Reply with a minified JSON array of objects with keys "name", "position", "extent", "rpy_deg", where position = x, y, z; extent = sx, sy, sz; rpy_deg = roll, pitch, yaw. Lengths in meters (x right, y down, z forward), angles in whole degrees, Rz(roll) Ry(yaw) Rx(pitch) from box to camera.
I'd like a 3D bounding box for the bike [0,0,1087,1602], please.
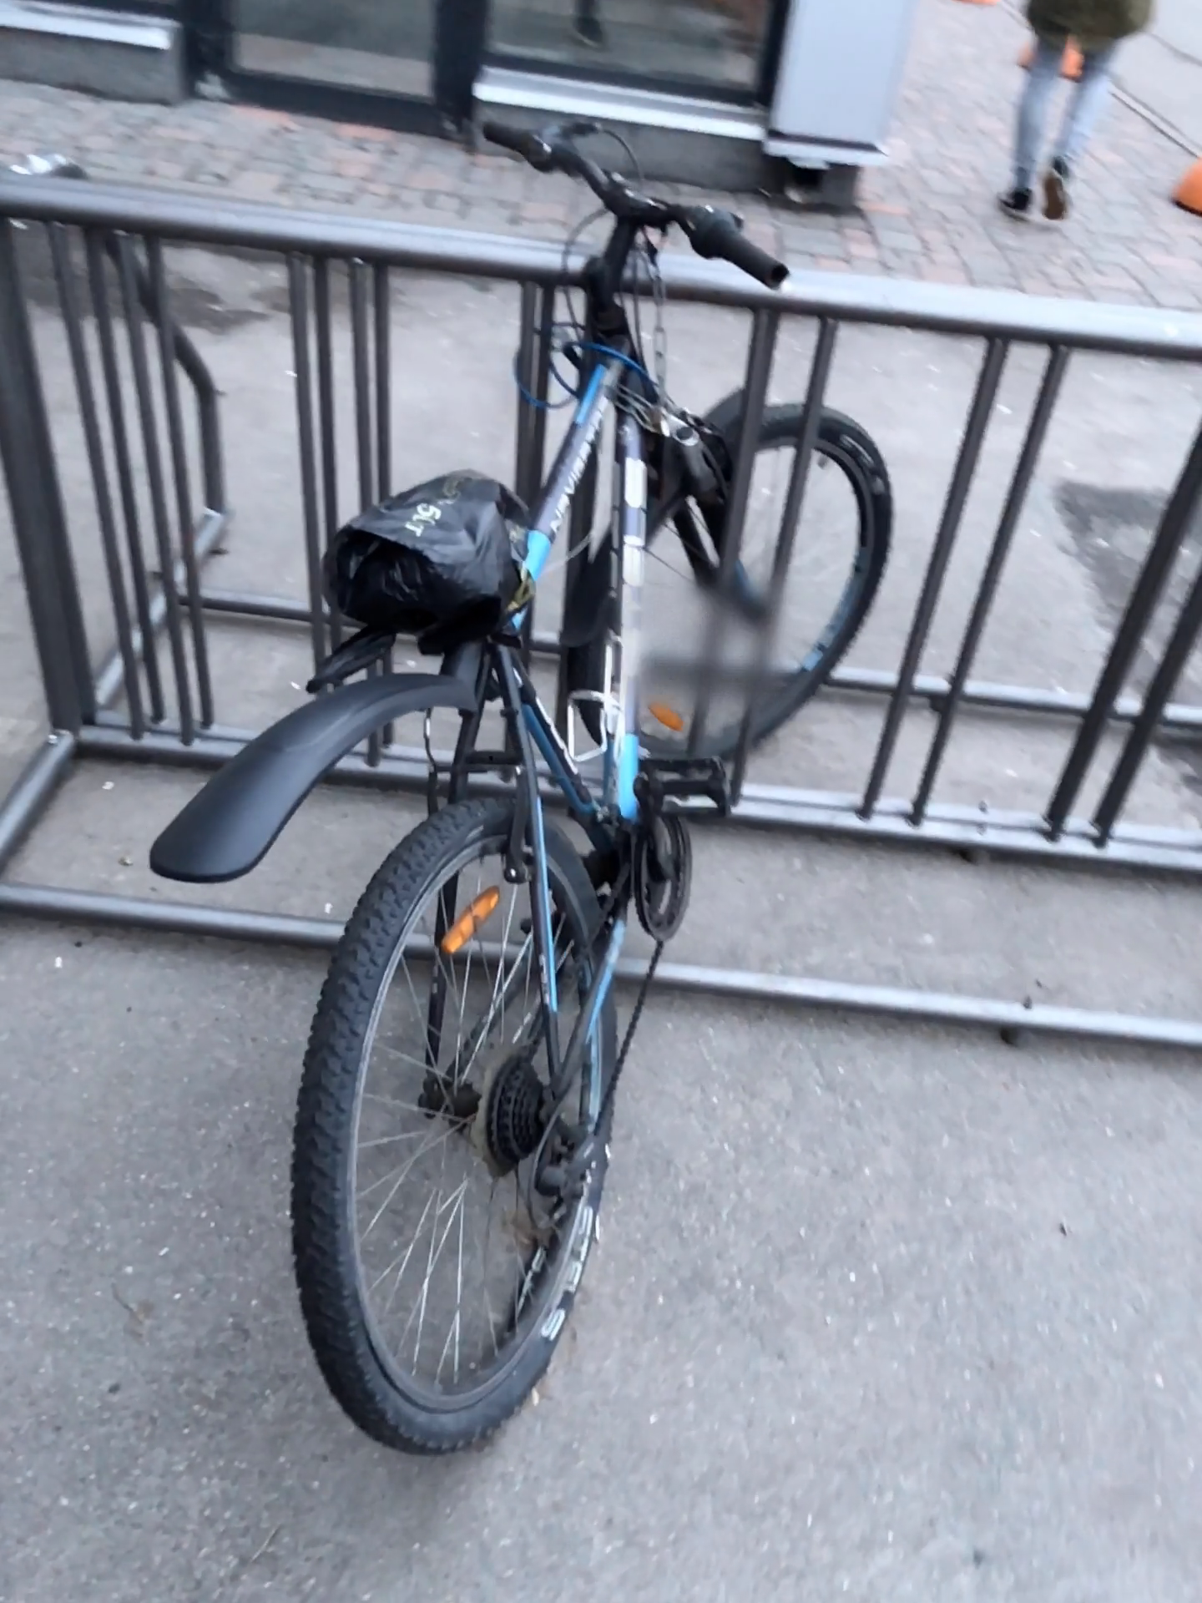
[{"name":"bike","position":[-0.019,-0.176,1.553],"extent":[0.535,1.050,1.593],"rpy_deg":[21,43,15]}]
